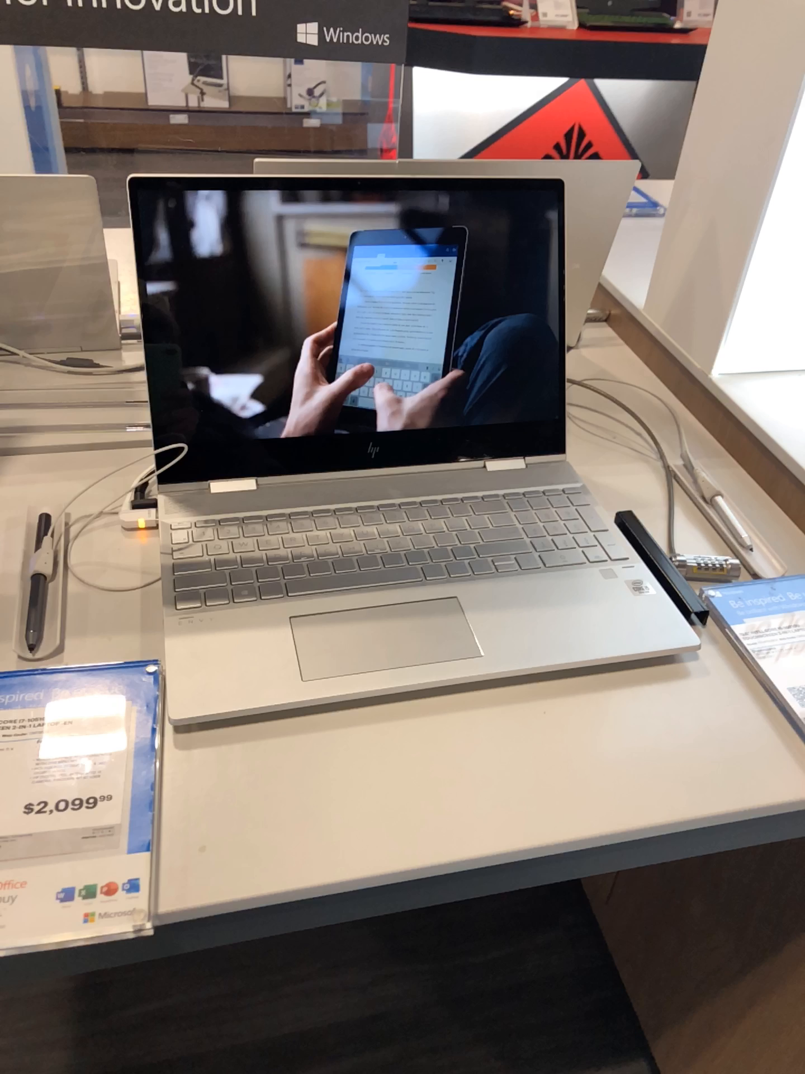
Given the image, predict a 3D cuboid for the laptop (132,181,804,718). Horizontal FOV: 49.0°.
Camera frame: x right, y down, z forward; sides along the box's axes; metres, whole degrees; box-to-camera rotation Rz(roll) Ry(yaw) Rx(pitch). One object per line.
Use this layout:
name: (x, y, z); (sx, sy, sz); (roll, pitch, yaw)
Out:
laptop: (0.002, -0.099, 0.643); (0.358, 0.210, 0.355); (-6, 38, -13)
